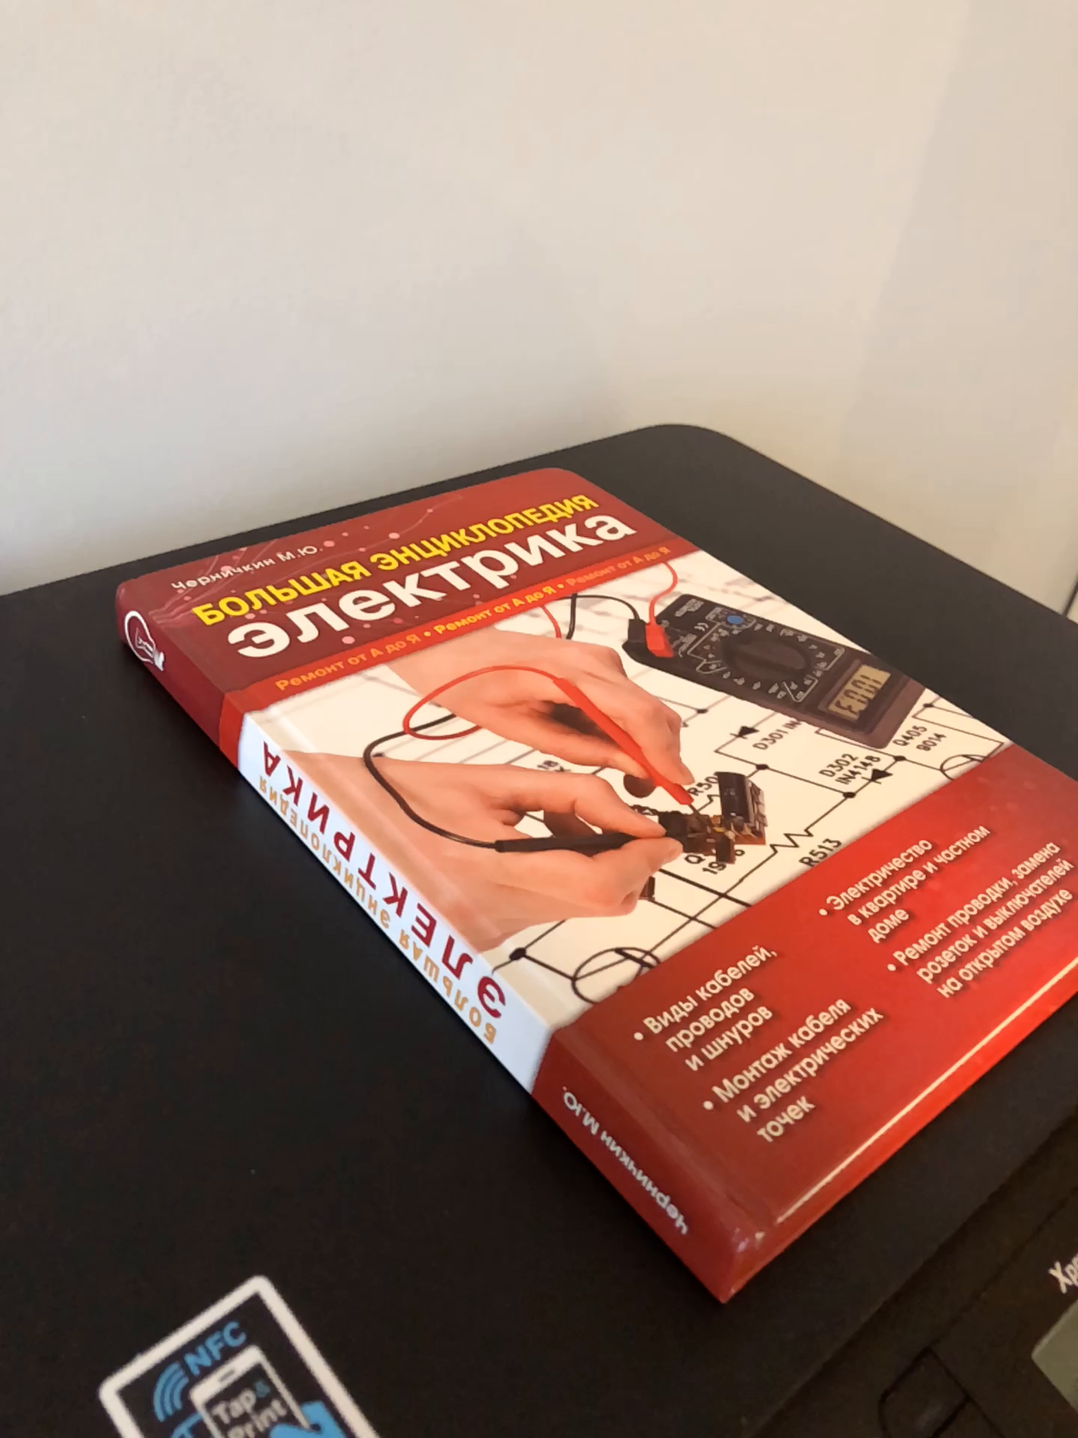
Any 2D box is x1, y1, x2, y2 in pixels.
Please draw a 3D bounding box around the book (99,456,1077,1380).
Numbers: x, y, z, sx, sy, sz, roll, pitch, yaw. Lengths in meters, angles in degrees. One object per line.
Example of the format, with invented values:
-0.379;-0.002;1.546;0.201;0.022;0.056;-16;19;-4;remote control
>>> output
0.018;0.013;0.320;0.171;0.040;0.241;-23;47;-35;book
